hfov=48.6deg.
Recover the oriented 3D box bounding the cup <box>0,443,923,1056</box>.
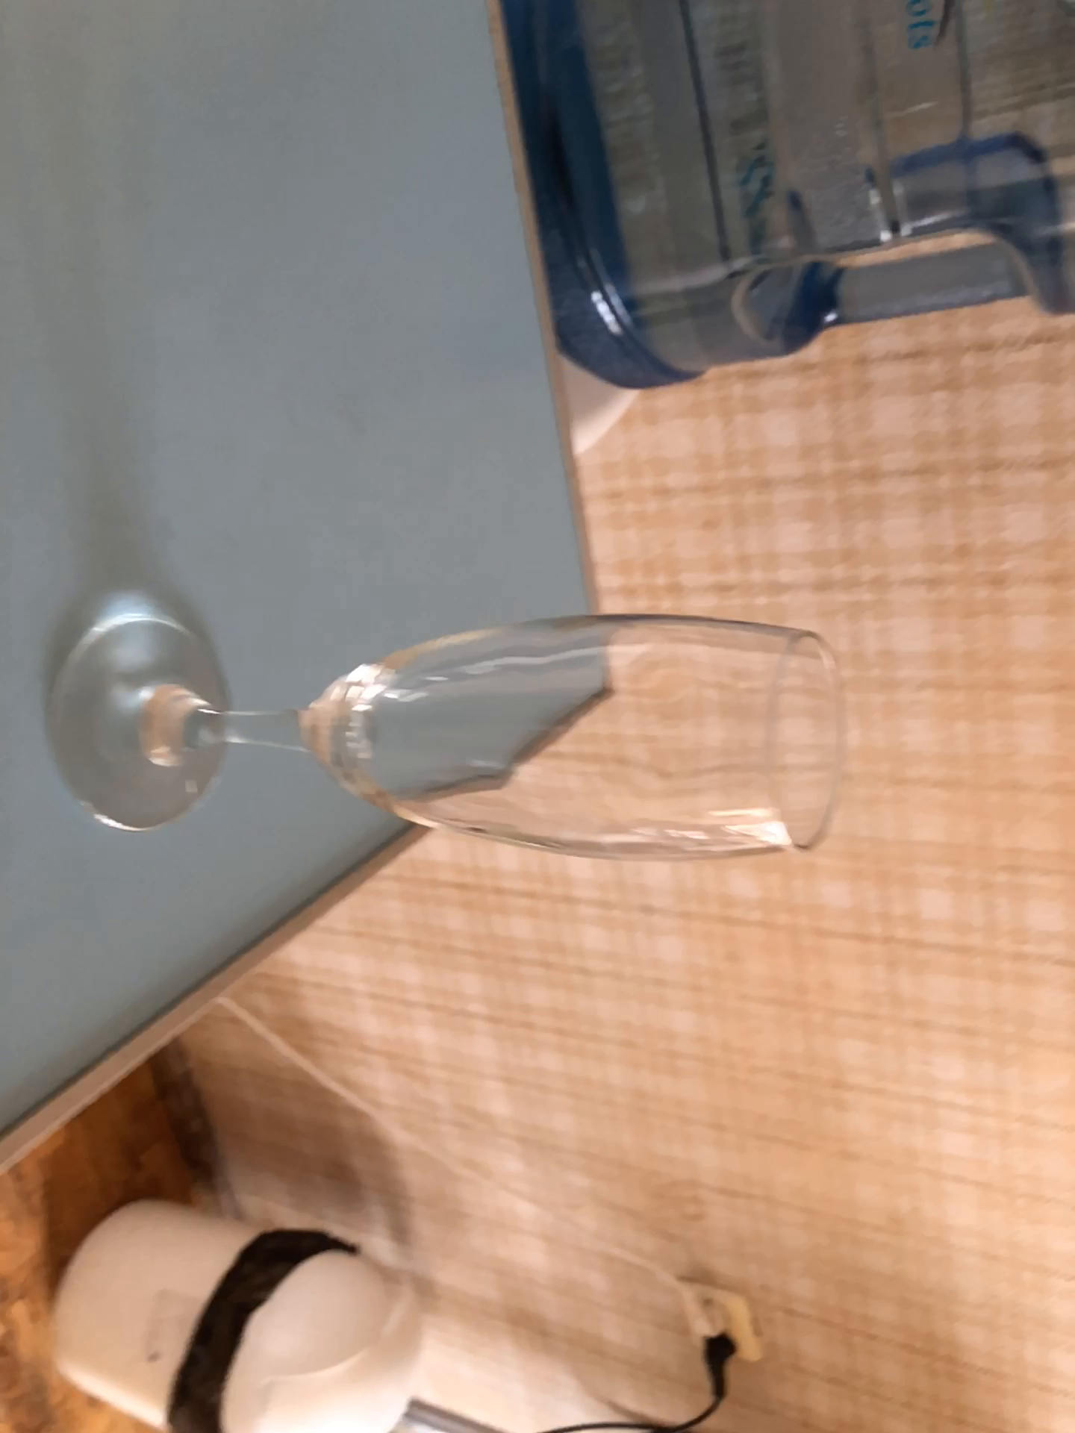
[{"bbox_3d":[-0.023,0.001,0.291,0.090,0.199,0.090,-3,93,-58],"label":"cup"}]
